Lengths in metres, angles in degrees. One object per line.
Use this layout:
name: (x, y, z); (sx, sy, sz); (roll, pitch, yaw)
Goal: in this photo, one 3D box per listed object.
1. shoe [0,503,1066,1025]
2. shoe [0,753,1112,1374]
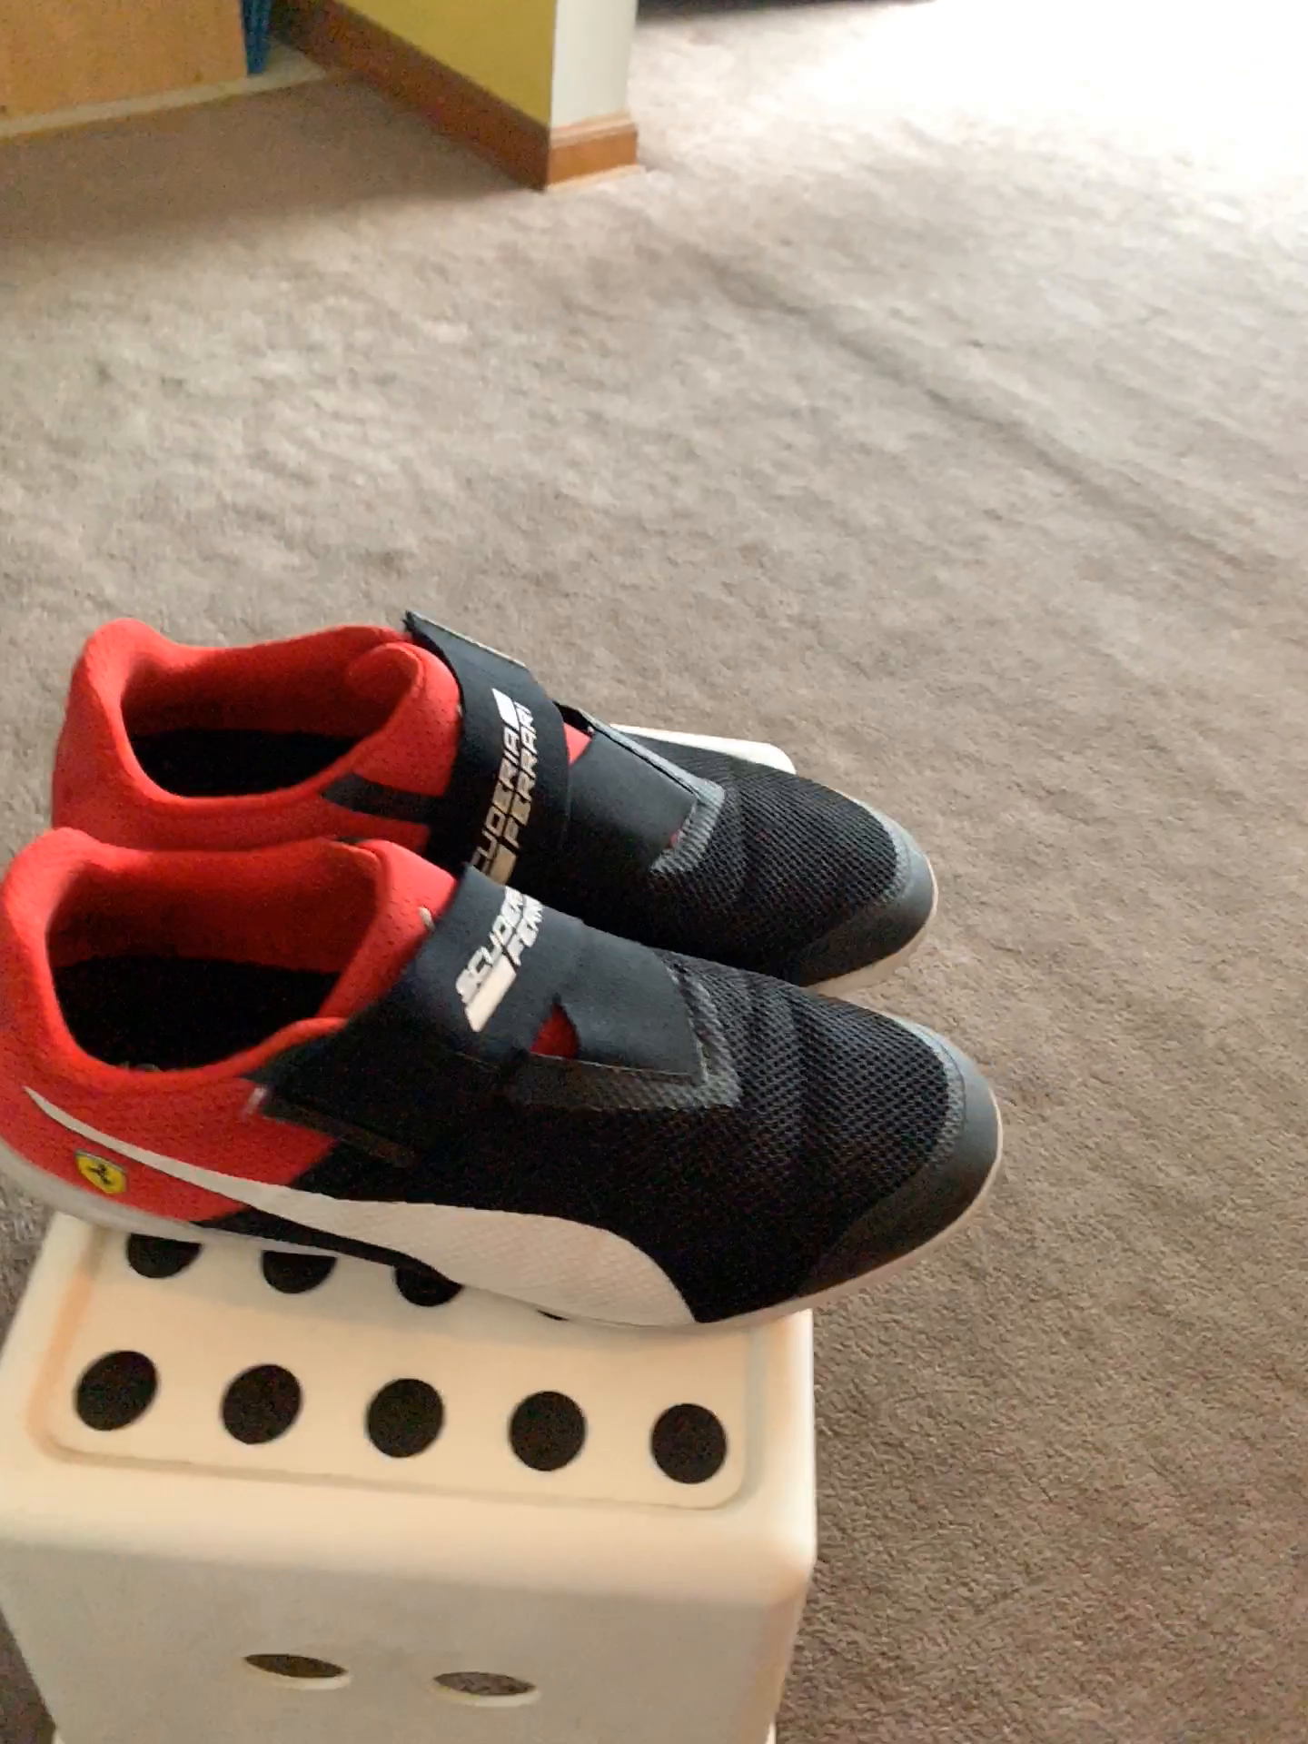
shoe: (-0.039, -0.033, 0.433); (0.300, 0.089, 0.111); (5, 48, -5)
shoe: (-0.046, 0.054, 0.368); (0.300, 0.089, 0.101); (7, 48, -3)
